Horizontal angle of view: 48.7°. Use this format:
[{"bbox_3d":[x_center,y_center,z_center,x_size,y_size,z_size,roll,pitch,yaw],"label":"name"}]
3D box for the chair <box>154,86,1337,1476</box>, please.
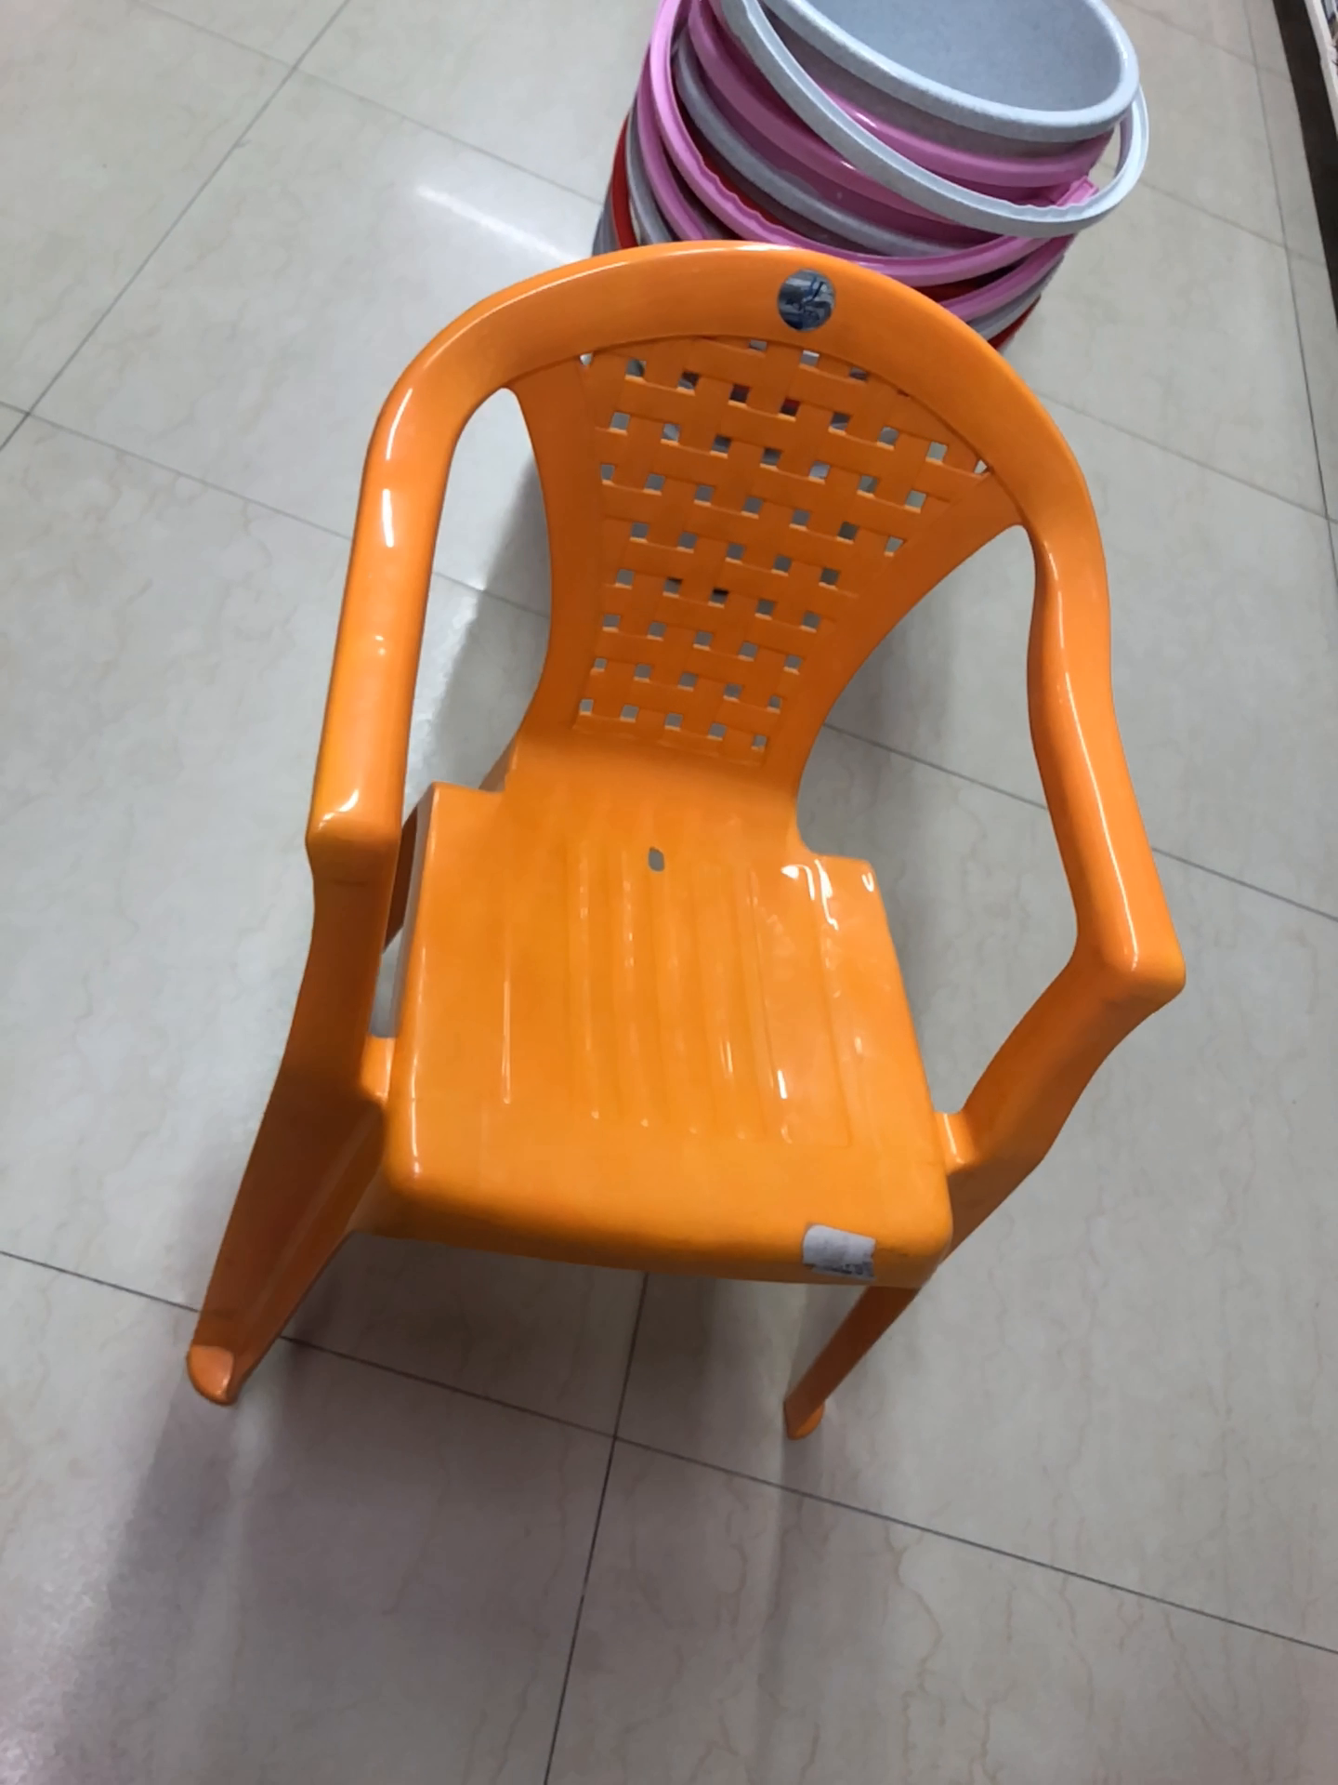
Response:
[{"bbox_3d":[0.005,0.001,0.713,0.390,0.468,0.402,11,53,-15],"label":"chair"}]
